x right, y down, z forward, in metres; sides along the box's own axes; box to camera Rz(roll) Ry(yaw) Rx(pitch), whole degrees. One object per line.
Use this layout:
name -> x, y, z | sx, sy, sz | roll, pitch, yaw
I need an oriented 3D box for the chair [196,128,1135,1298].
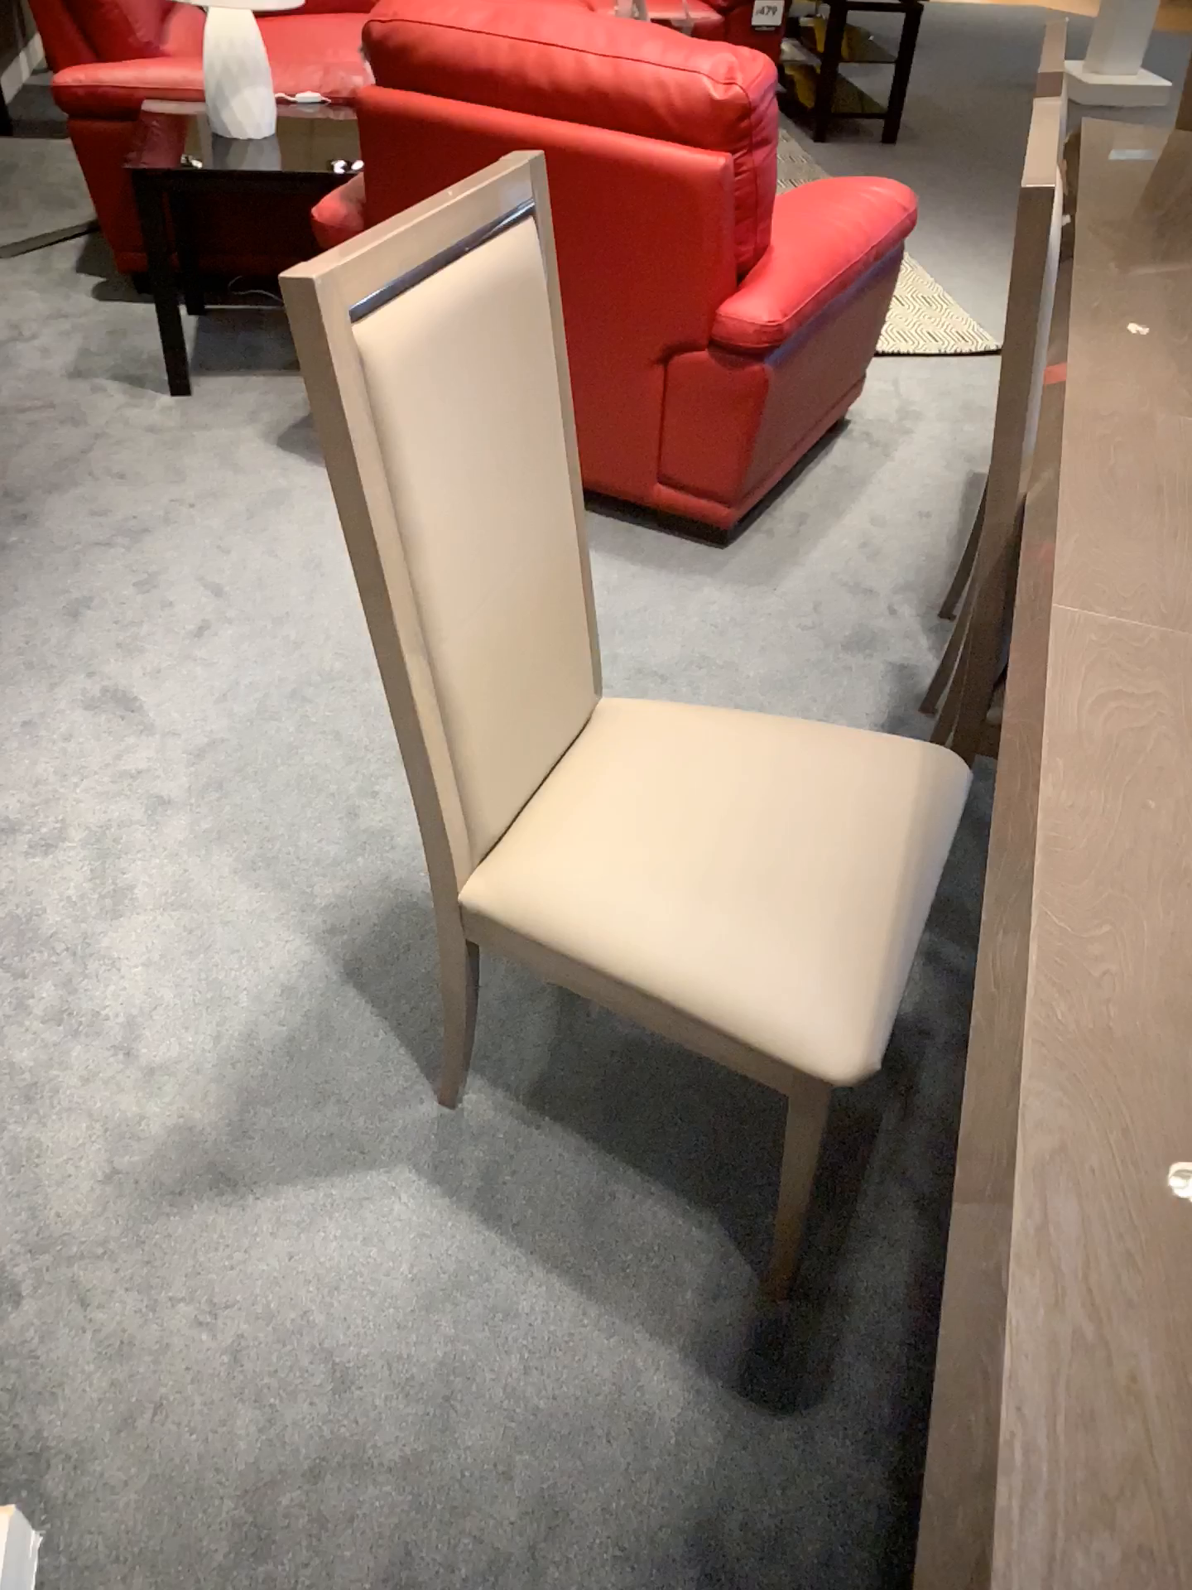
chair -> 0.087, -0.063, 1.248 | 0.582, 0.977, 0.502 | 16, 43, 19
